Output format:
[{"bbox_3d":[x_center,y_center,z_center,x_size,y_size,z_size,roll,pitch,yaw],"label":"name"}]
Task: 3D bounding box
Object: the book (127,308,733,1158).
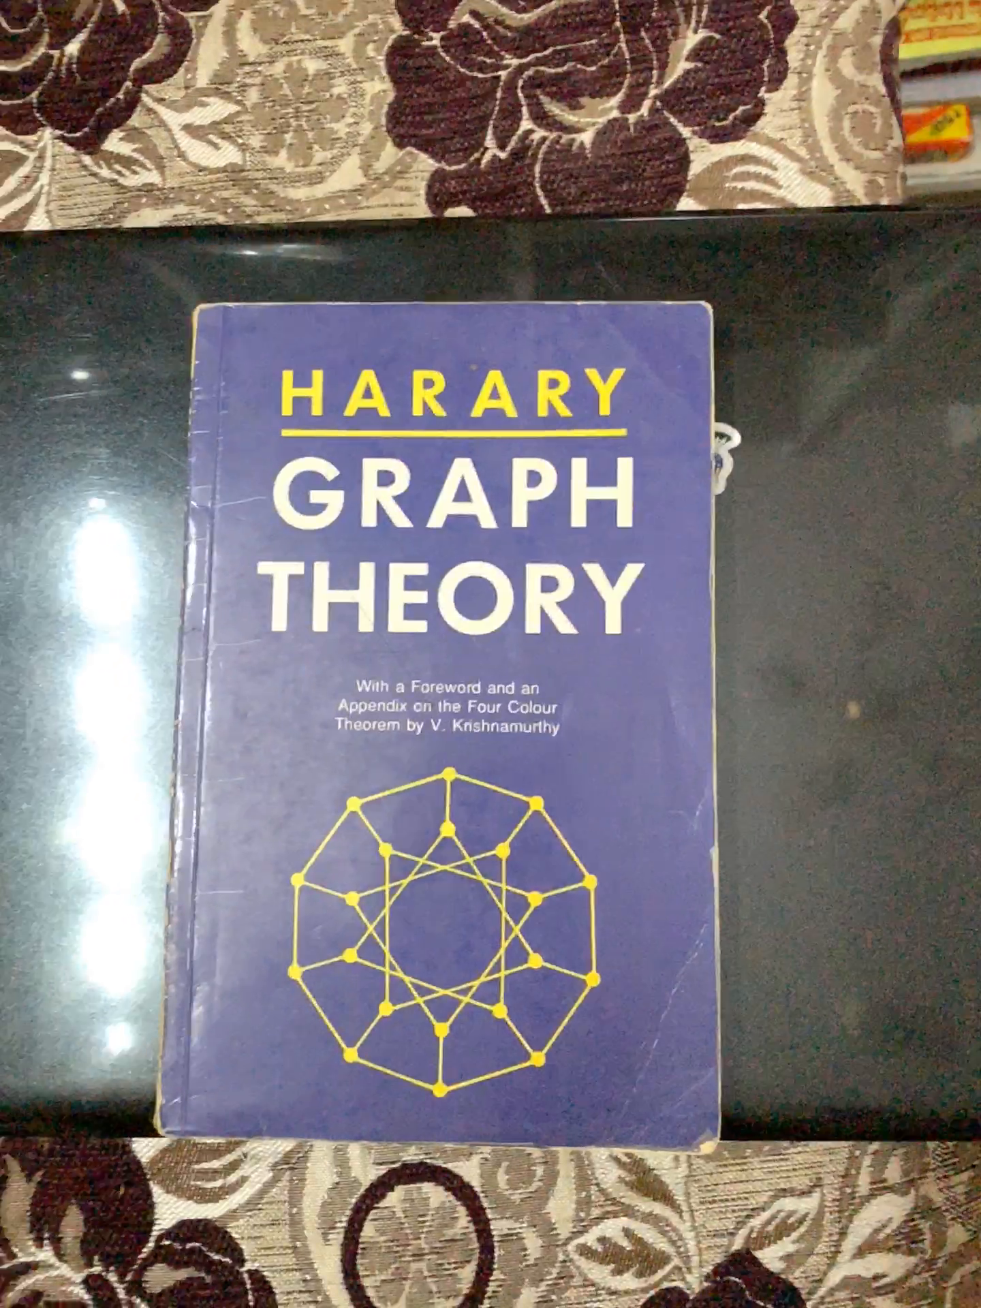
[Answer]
[{"bbox_3d":[-0.012,0.015,0.255,0.140,0.020,0.200,1,84,3],"label":"book"}]
